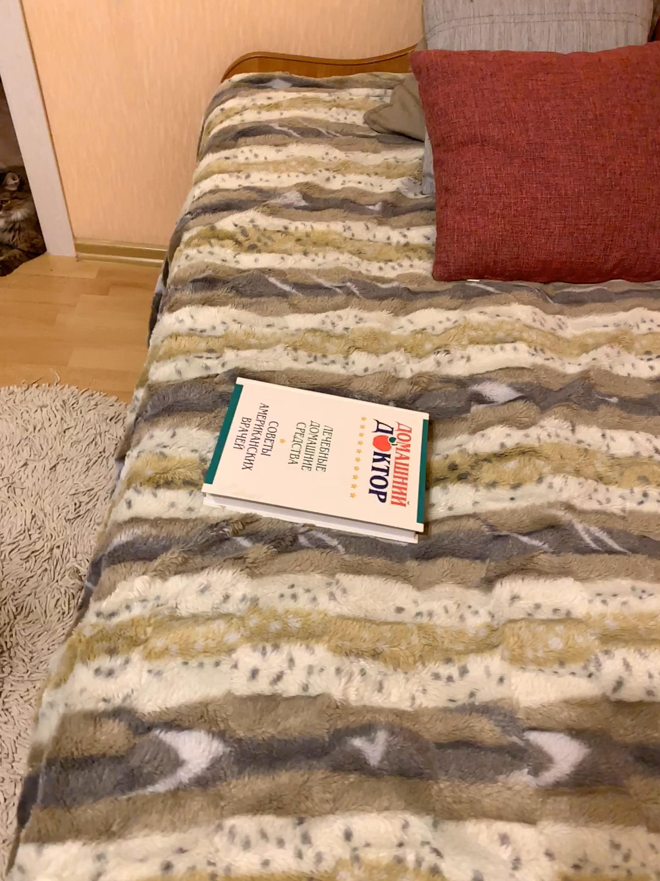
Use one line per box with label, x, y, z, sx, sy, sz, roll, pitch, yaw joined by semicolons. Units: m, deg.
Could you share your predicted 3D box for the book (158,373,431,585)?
book;-0.025;0.031;0.681;0.240;0.040;0.192;10;49;2
